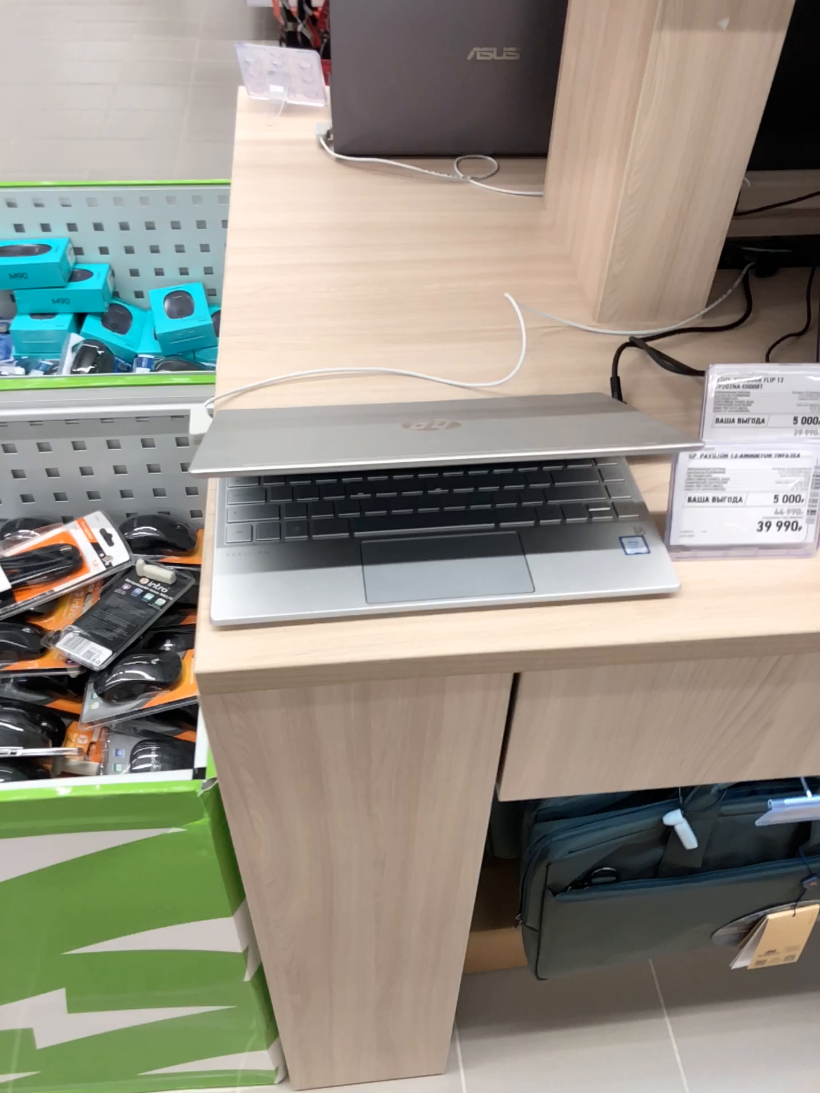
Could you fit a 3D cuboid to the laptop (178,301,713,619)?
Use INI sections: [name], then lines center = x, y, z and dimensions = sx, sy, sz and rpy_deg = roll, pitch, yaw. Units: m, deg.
[laptop]
center = 0.012, -0.070, 0.638
dimensions = 0.322, 0.095, 0.207
rpy_deg = -4, 46, -5
